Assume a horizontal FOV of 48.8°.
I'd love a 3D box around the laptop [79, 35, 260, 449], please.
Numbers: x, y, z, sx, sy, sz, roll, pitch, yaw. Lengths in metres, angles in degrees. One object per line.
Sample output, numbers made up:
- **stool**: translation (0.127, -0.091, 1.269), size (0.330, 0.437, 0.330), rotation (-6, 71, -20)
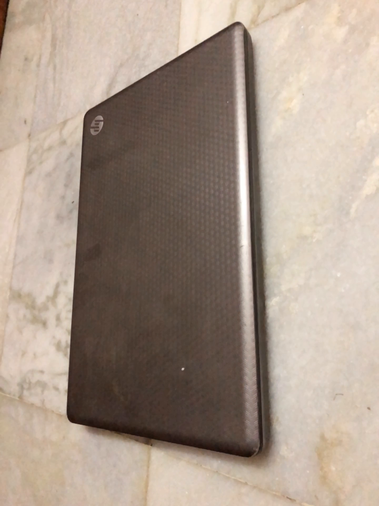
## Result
- **laptop**: translation (-0.038, -0.011, 0.452), size (0.249, 0.002, 0.378), rotation (-11, 74, 40)
